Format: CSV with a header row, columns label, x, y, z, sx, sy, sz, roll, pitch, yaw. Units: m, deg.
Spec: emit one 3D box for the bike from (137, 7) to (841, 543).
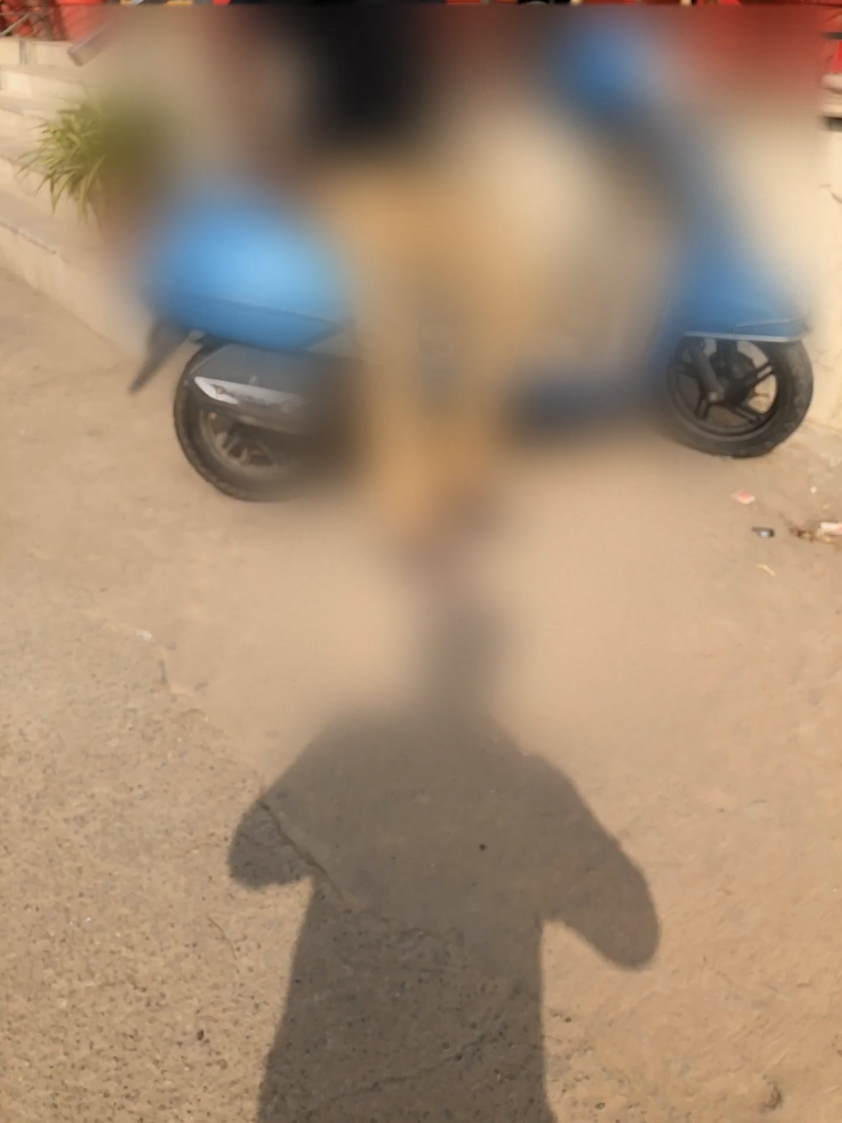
label,x,y,z,sx,sy,sz,roll,pitch,yaw
bike,0.193,-0.683,2.235,1.568,1.021,0.597,-3,30,-2
